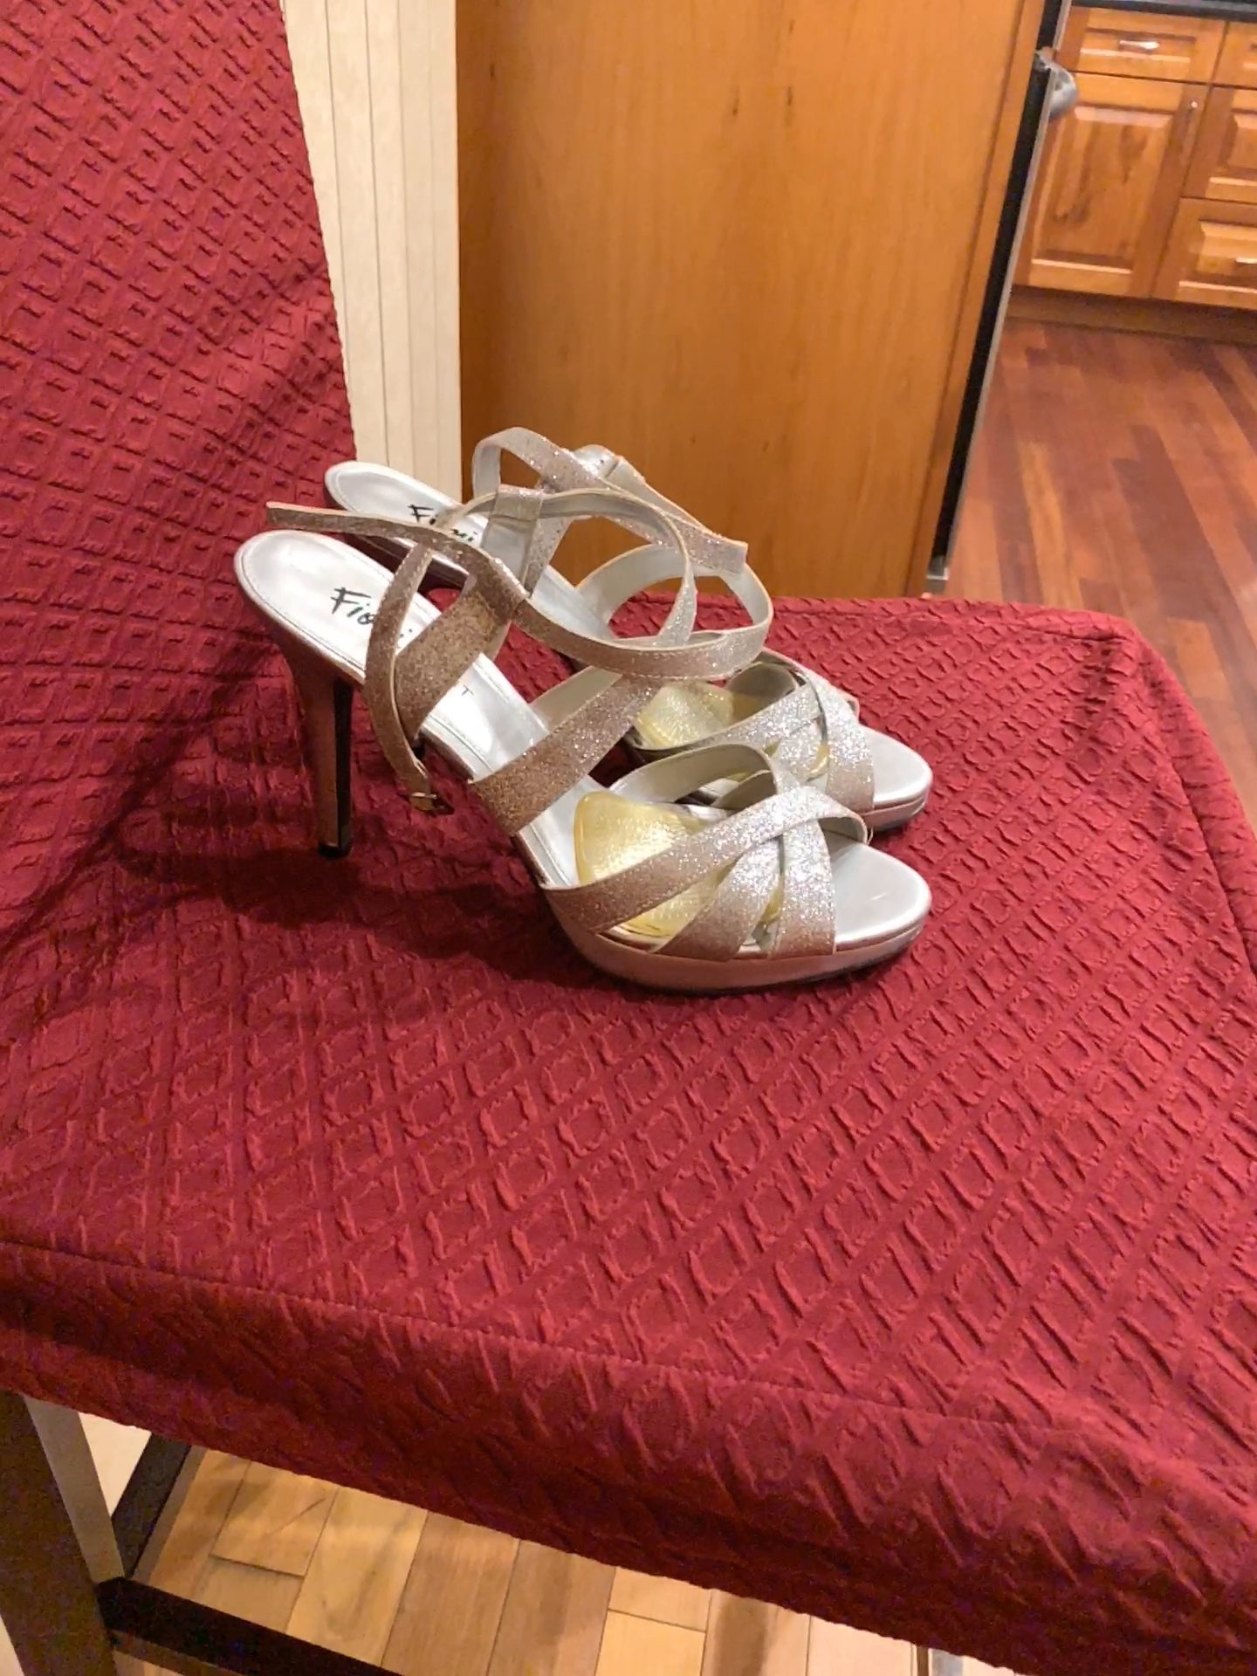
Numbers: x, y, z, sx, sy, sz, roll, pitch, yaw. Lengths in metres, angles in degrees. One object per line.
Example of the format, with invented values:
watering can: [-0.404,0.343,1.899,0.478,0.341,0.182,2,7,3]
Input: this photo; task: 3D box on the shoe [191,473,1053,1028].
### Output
shoe: [-0.002,-0.031,0.418,0.230,0.119,0.101,6,36,3]

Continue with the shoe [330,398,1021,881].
shoe: [0.016,-0.077,0.483,0.220,0.119,0.101,8,36,5]
